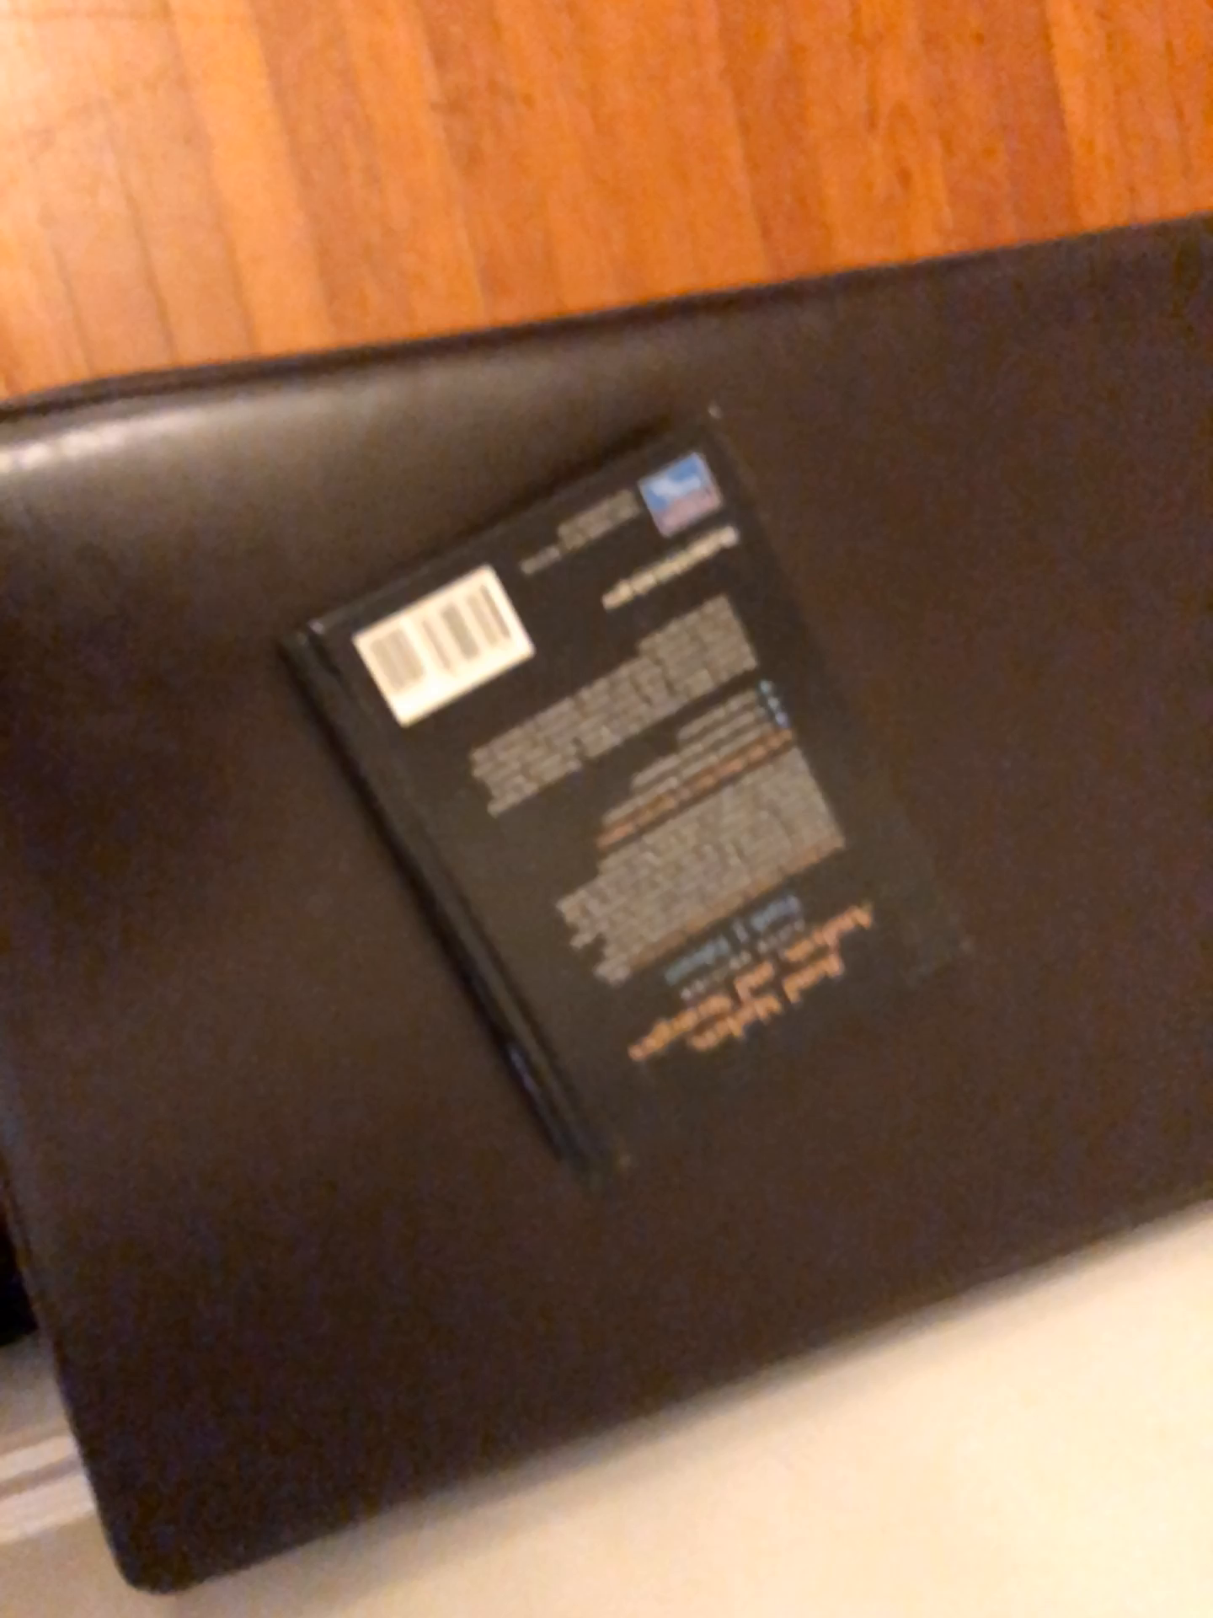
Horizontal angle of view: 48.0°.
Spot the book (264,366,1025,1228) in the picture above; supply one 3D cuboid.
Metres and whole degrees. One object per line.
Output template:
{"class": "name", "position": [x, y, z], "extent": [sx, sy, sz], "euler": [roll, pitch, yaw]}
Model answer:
{"class": "book", "position": [0.023, -0.003, 0.530], "extent": [0.200, 0.040, 0.260], "euler": [-30, 104, -11]}
